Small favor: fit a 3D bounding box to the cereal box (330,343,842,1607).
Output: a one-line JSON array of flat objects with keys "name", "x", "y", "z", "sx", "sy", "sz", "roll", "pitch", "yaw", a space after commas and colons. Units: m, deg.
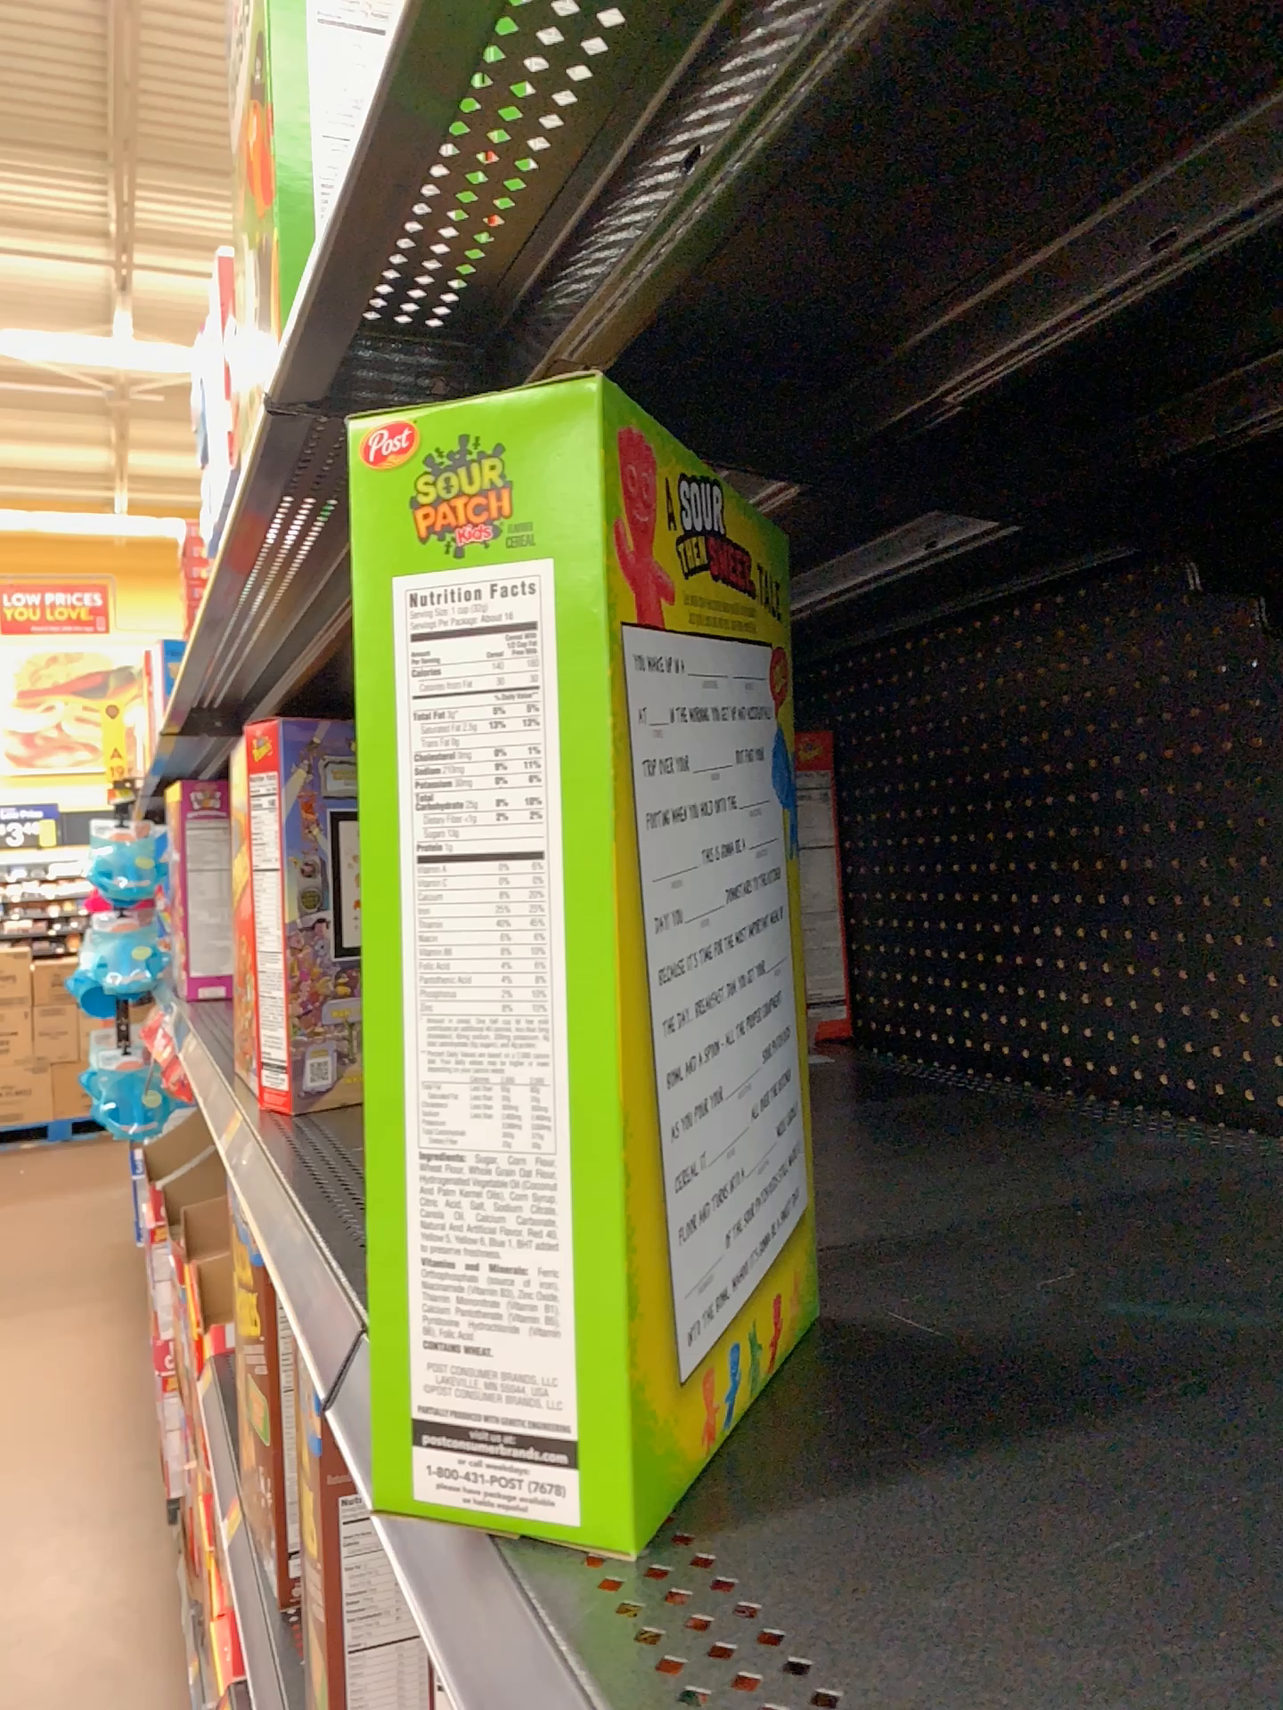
[{"name": "cereal box", "x": -0.004, "y": 0.029, "z": 0.431, "sx": 0.080, "sy": 0.310, "sz": 0.200, "roll": -3, "pitch": -1, "yaw": 22}]
